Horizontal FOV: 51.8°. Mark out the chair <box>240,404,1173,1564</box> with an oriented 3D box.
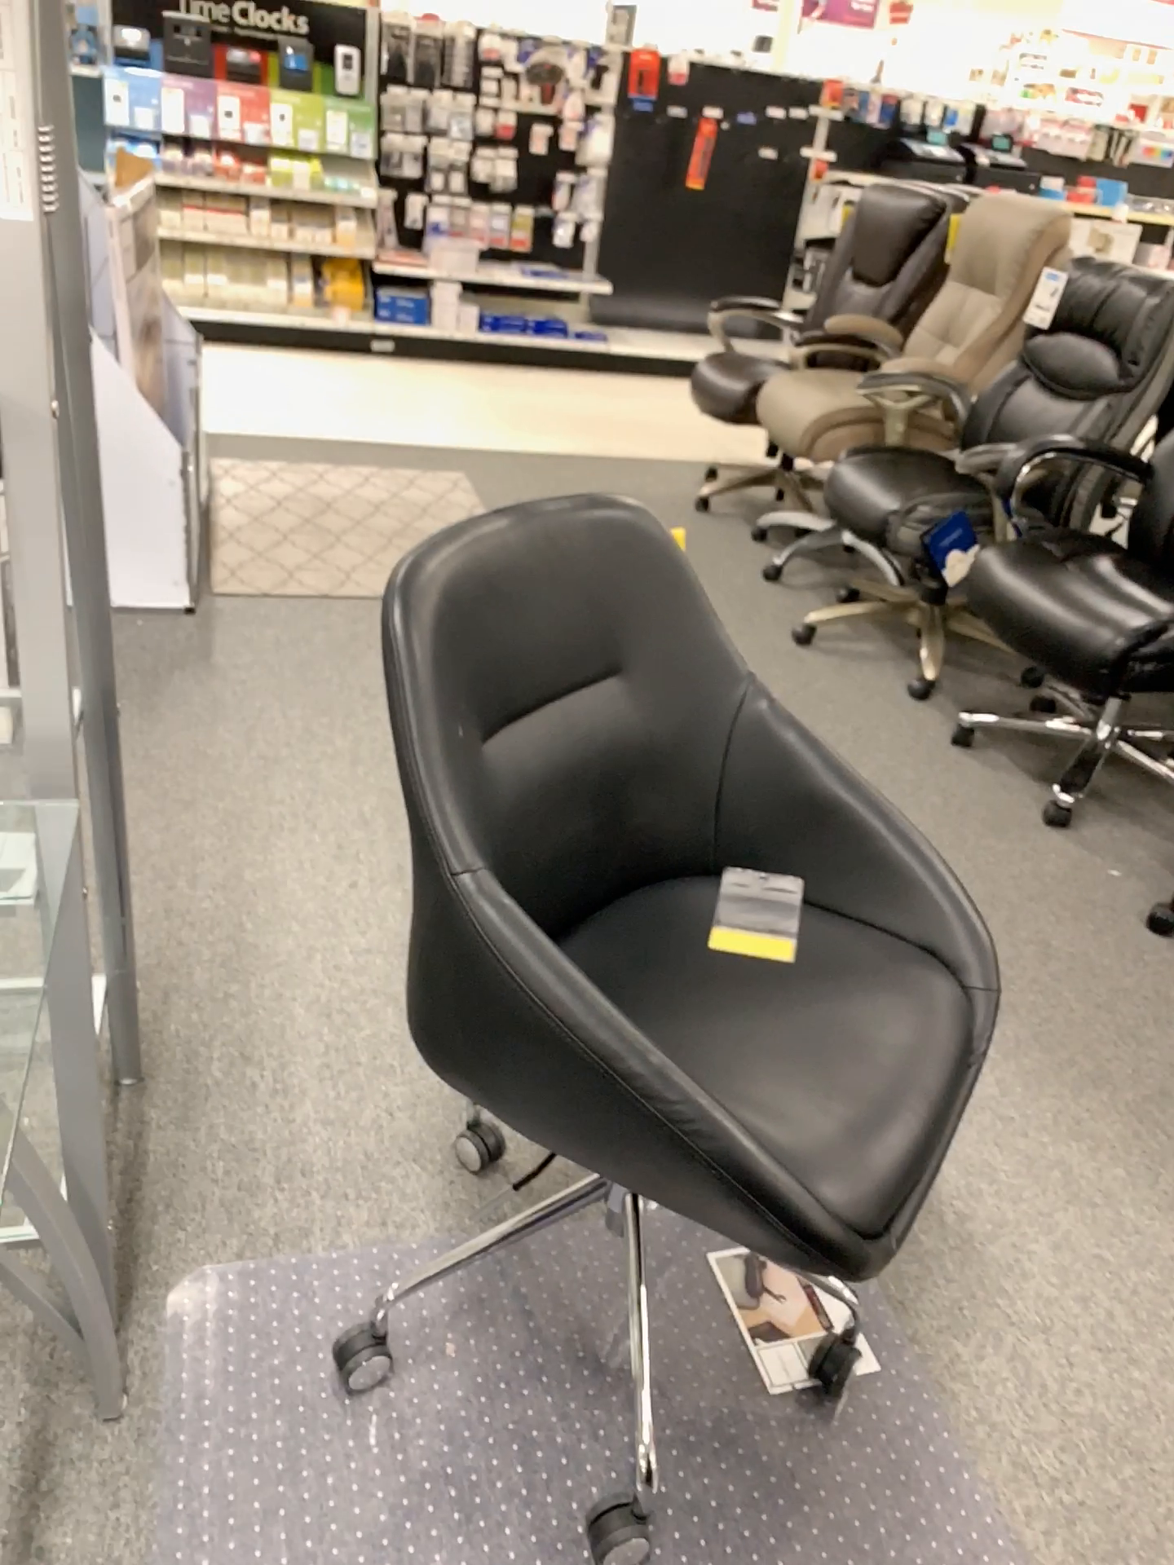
[{"bbox_3d":[0.133,0.185,1.212,0.621,0.885,0.673,22,32,22],"label":"chair"}]
